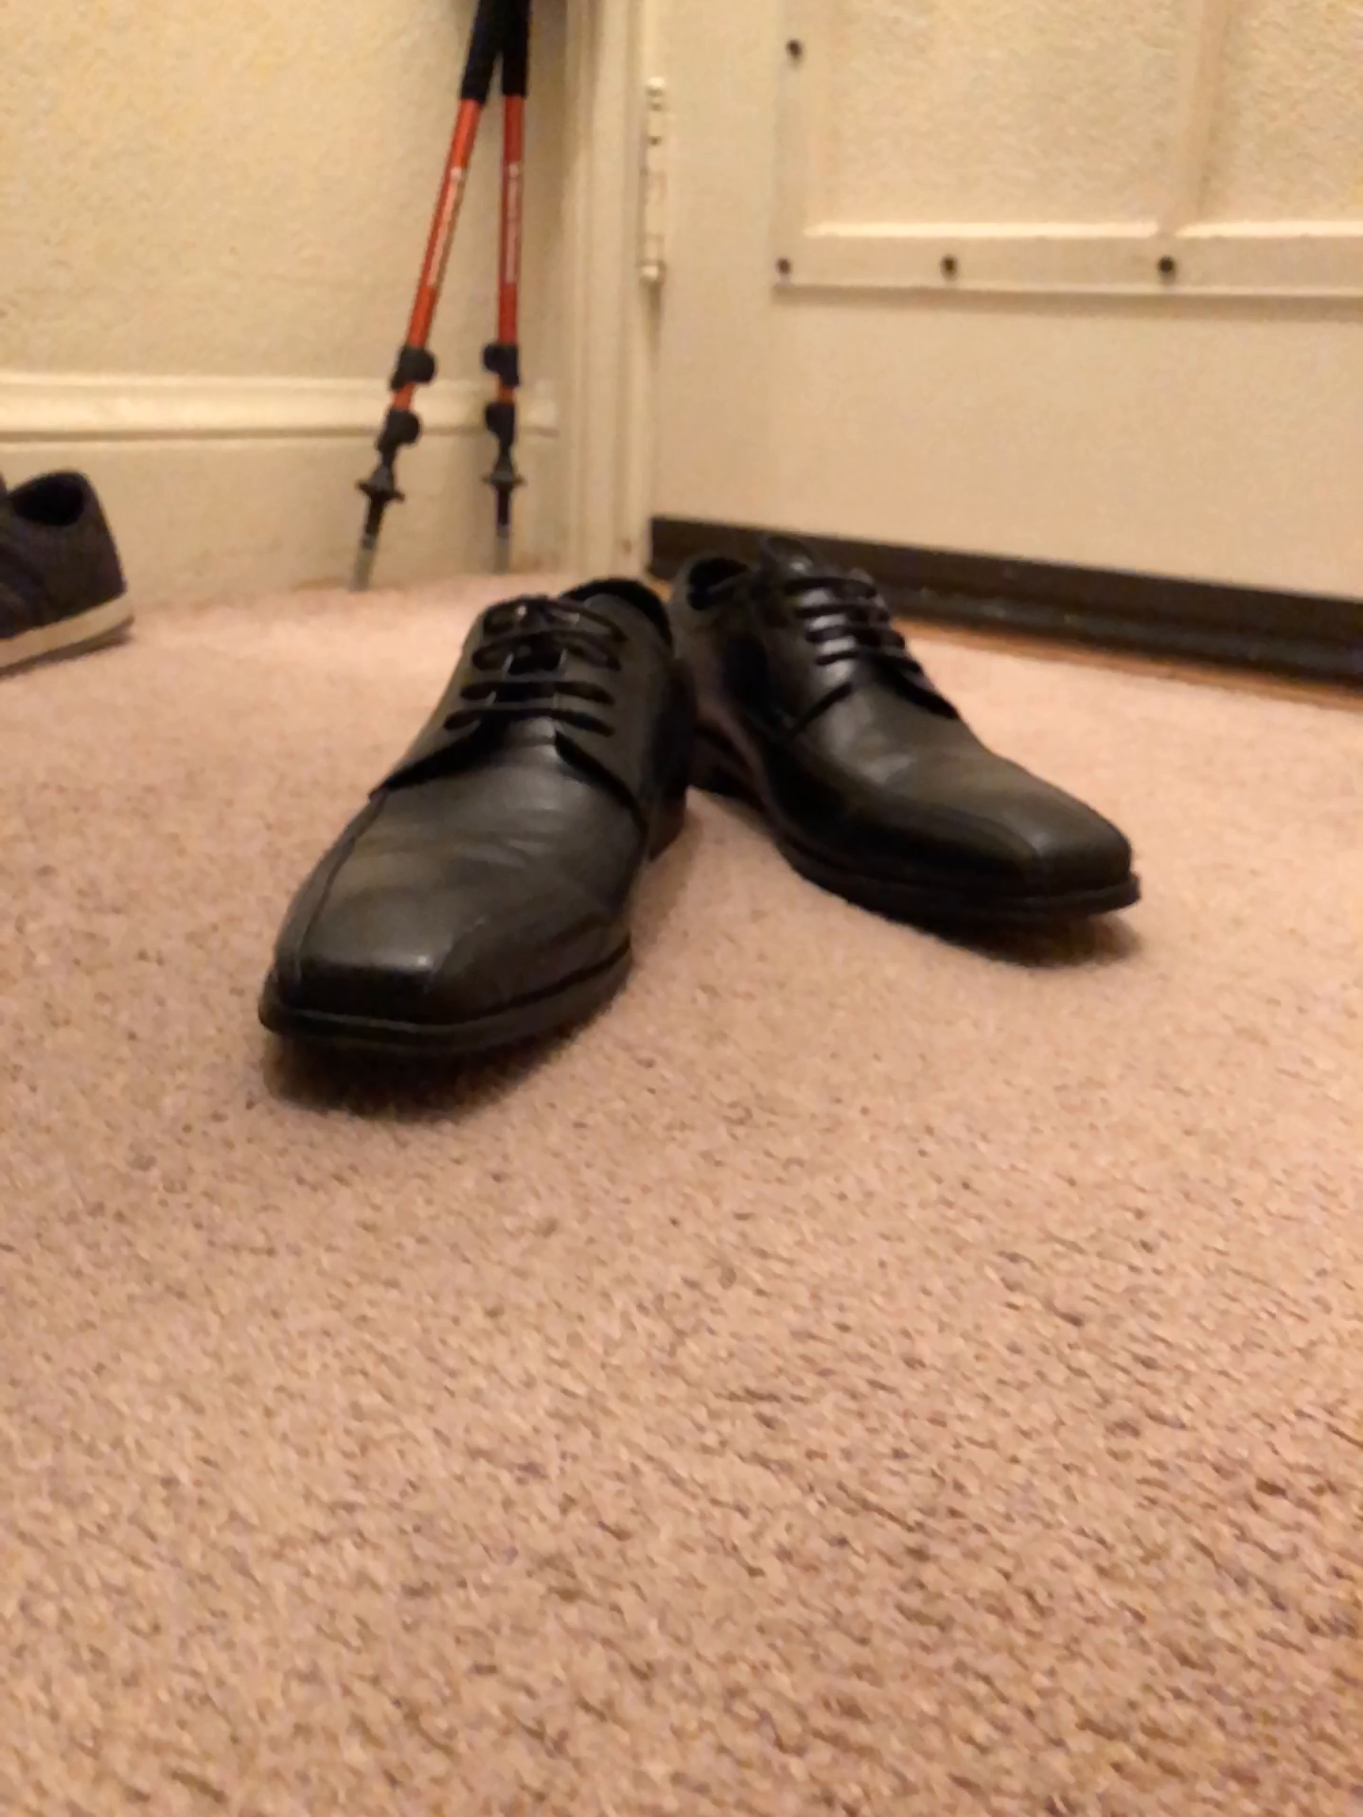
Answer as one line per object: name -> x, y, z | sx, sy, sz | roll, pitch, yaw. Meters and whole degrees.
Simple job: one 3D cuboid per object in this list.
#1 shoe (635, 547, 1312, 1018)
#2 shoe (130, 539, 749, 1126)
shoe -> 0.093, -0.072, 0.624 | 0.115, 0.110, 0.297 | -6, 22, -24
shoe -> -0.055, -0.049, 0.506 | 0.110, 0.107, 0.284 | 6, 21, 9
